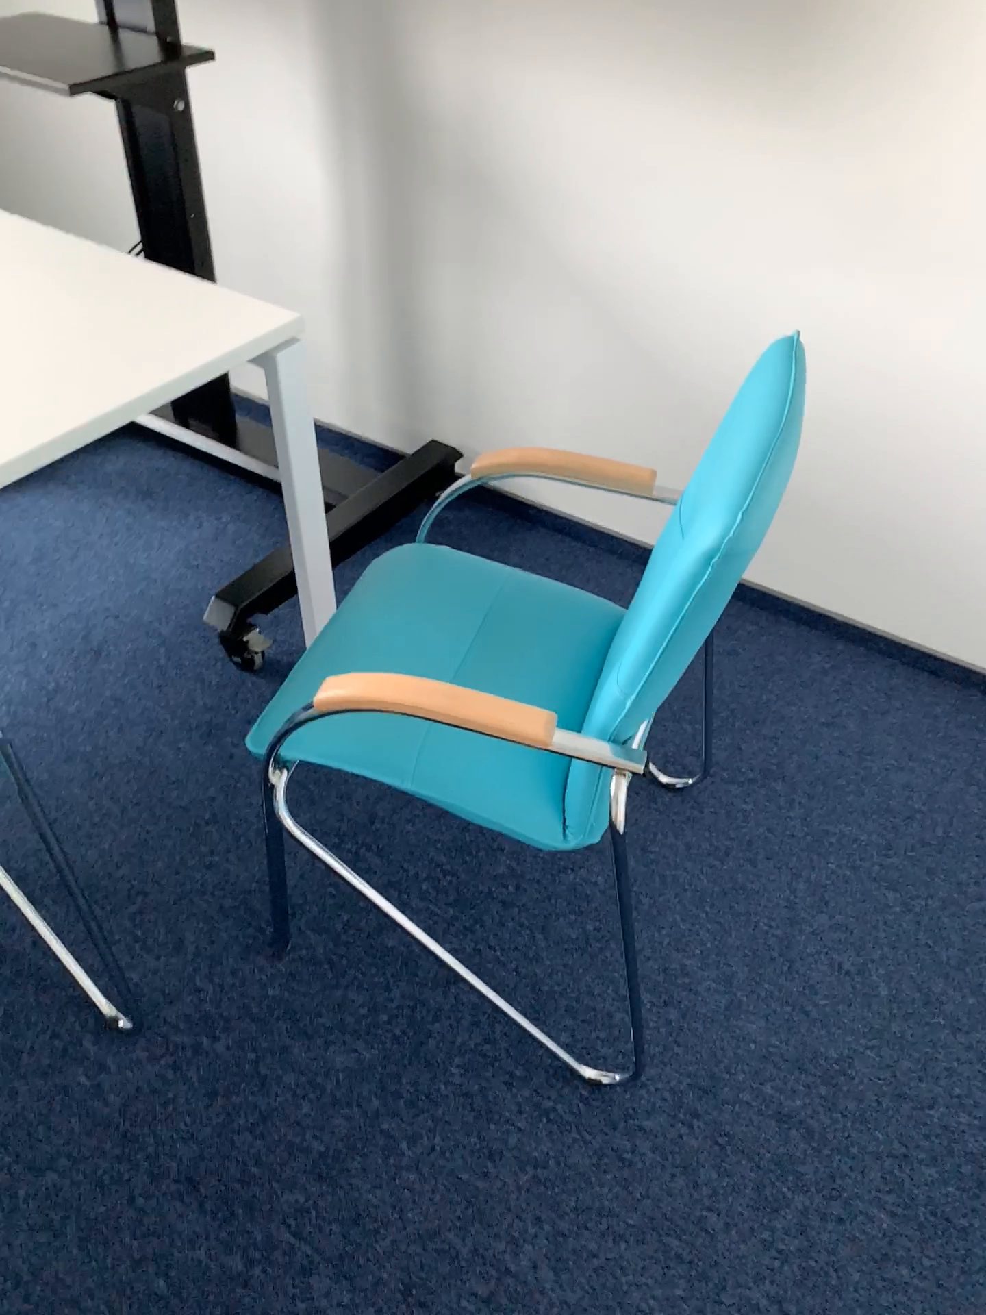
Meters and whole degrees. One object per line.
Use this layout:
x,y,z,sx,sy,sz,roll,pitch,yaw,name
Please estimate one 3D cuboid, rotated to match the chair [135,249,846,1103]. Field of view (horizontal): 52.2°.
0.034,0.024,1.374,0.600,0.845,0.623,15,43,13,chair
